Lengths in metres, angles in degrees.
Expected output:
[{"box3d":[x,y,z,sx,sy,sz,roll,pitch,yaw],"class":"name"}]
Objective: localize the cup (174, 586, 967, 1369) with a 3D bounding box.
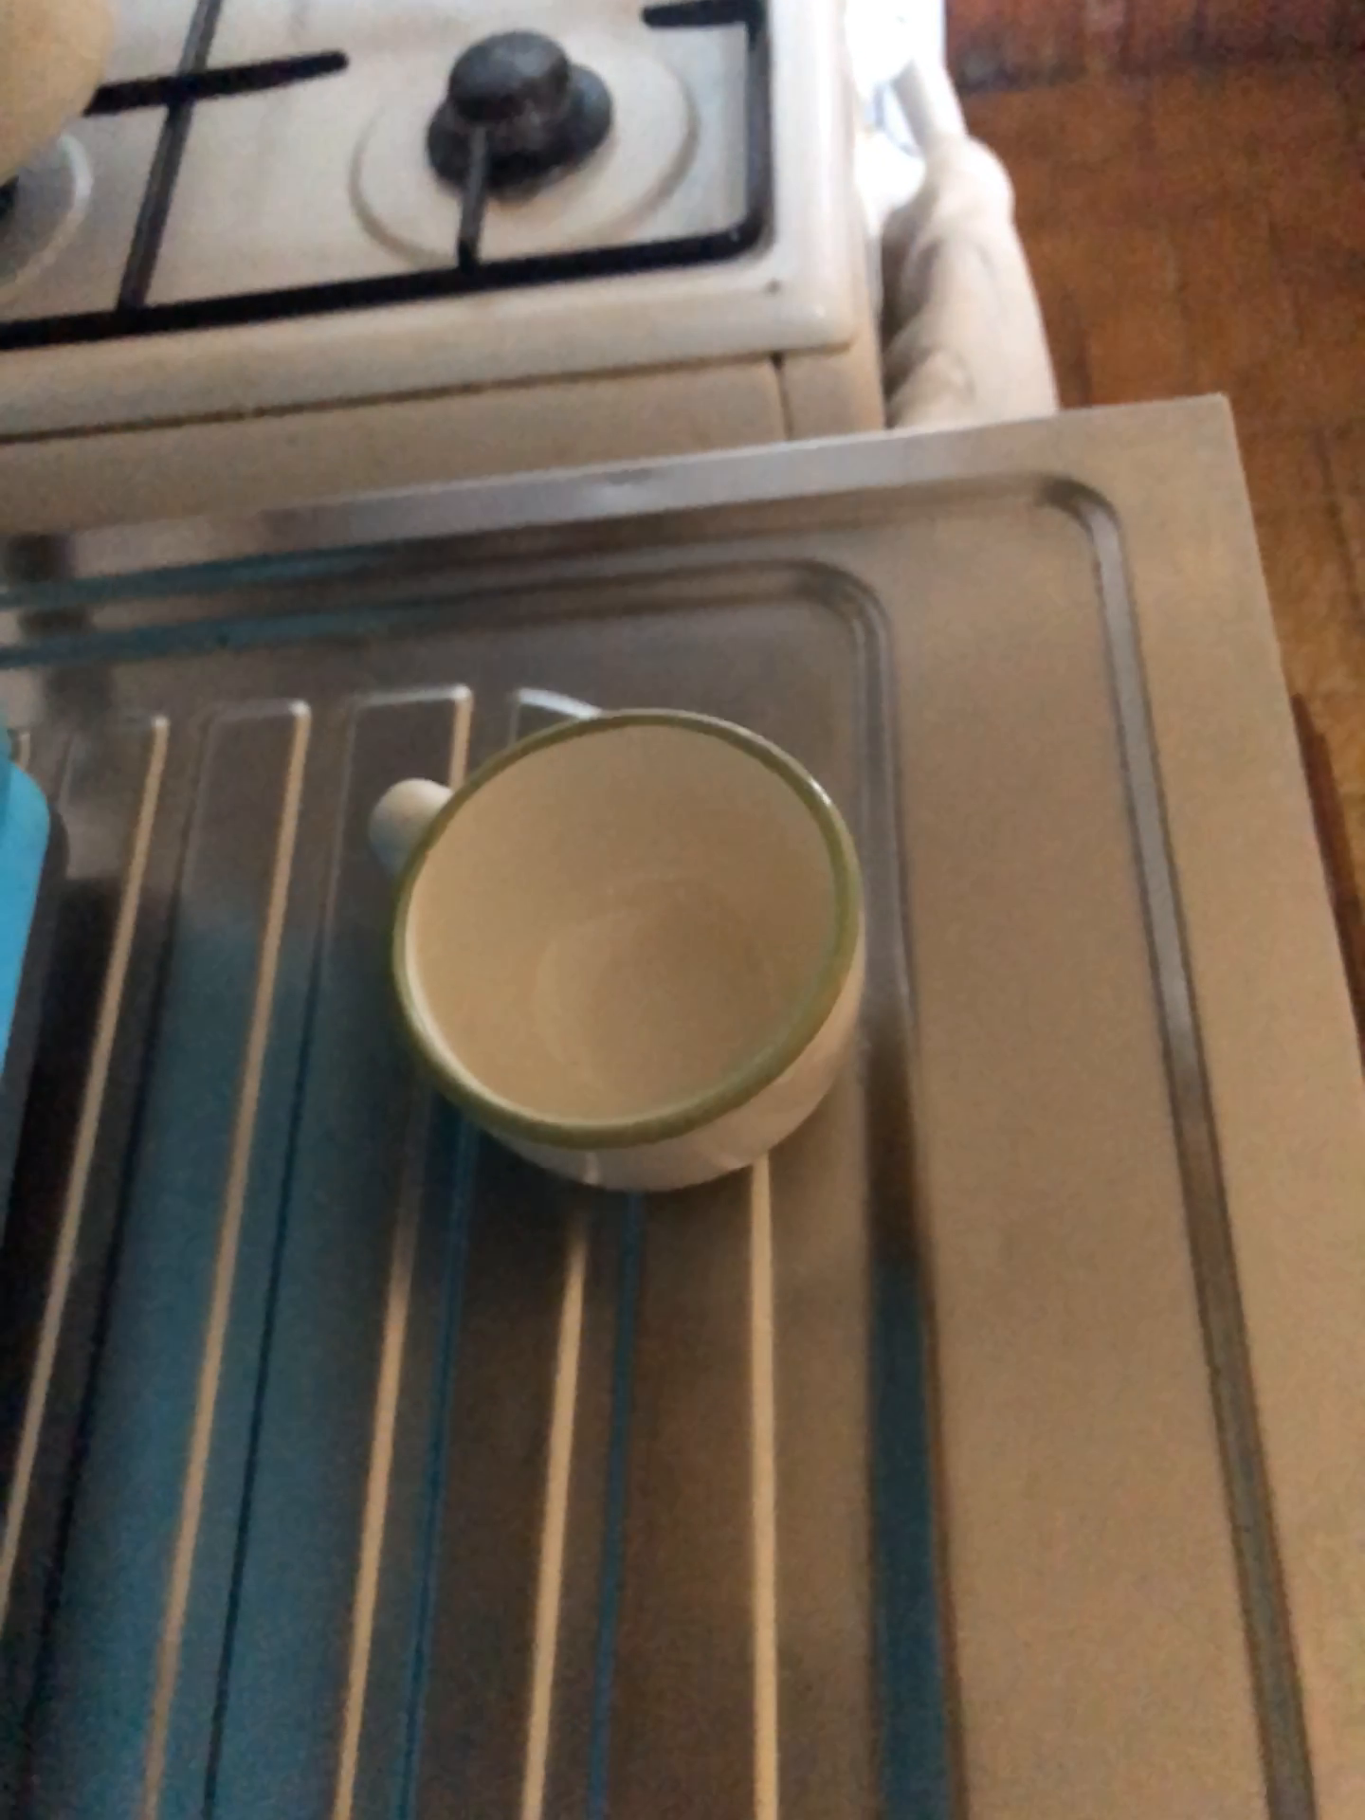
[{"box3d":[-0.018,0.011,0.293,0.110,0.060,0.090,35,73,25],"class":"cup"}]
